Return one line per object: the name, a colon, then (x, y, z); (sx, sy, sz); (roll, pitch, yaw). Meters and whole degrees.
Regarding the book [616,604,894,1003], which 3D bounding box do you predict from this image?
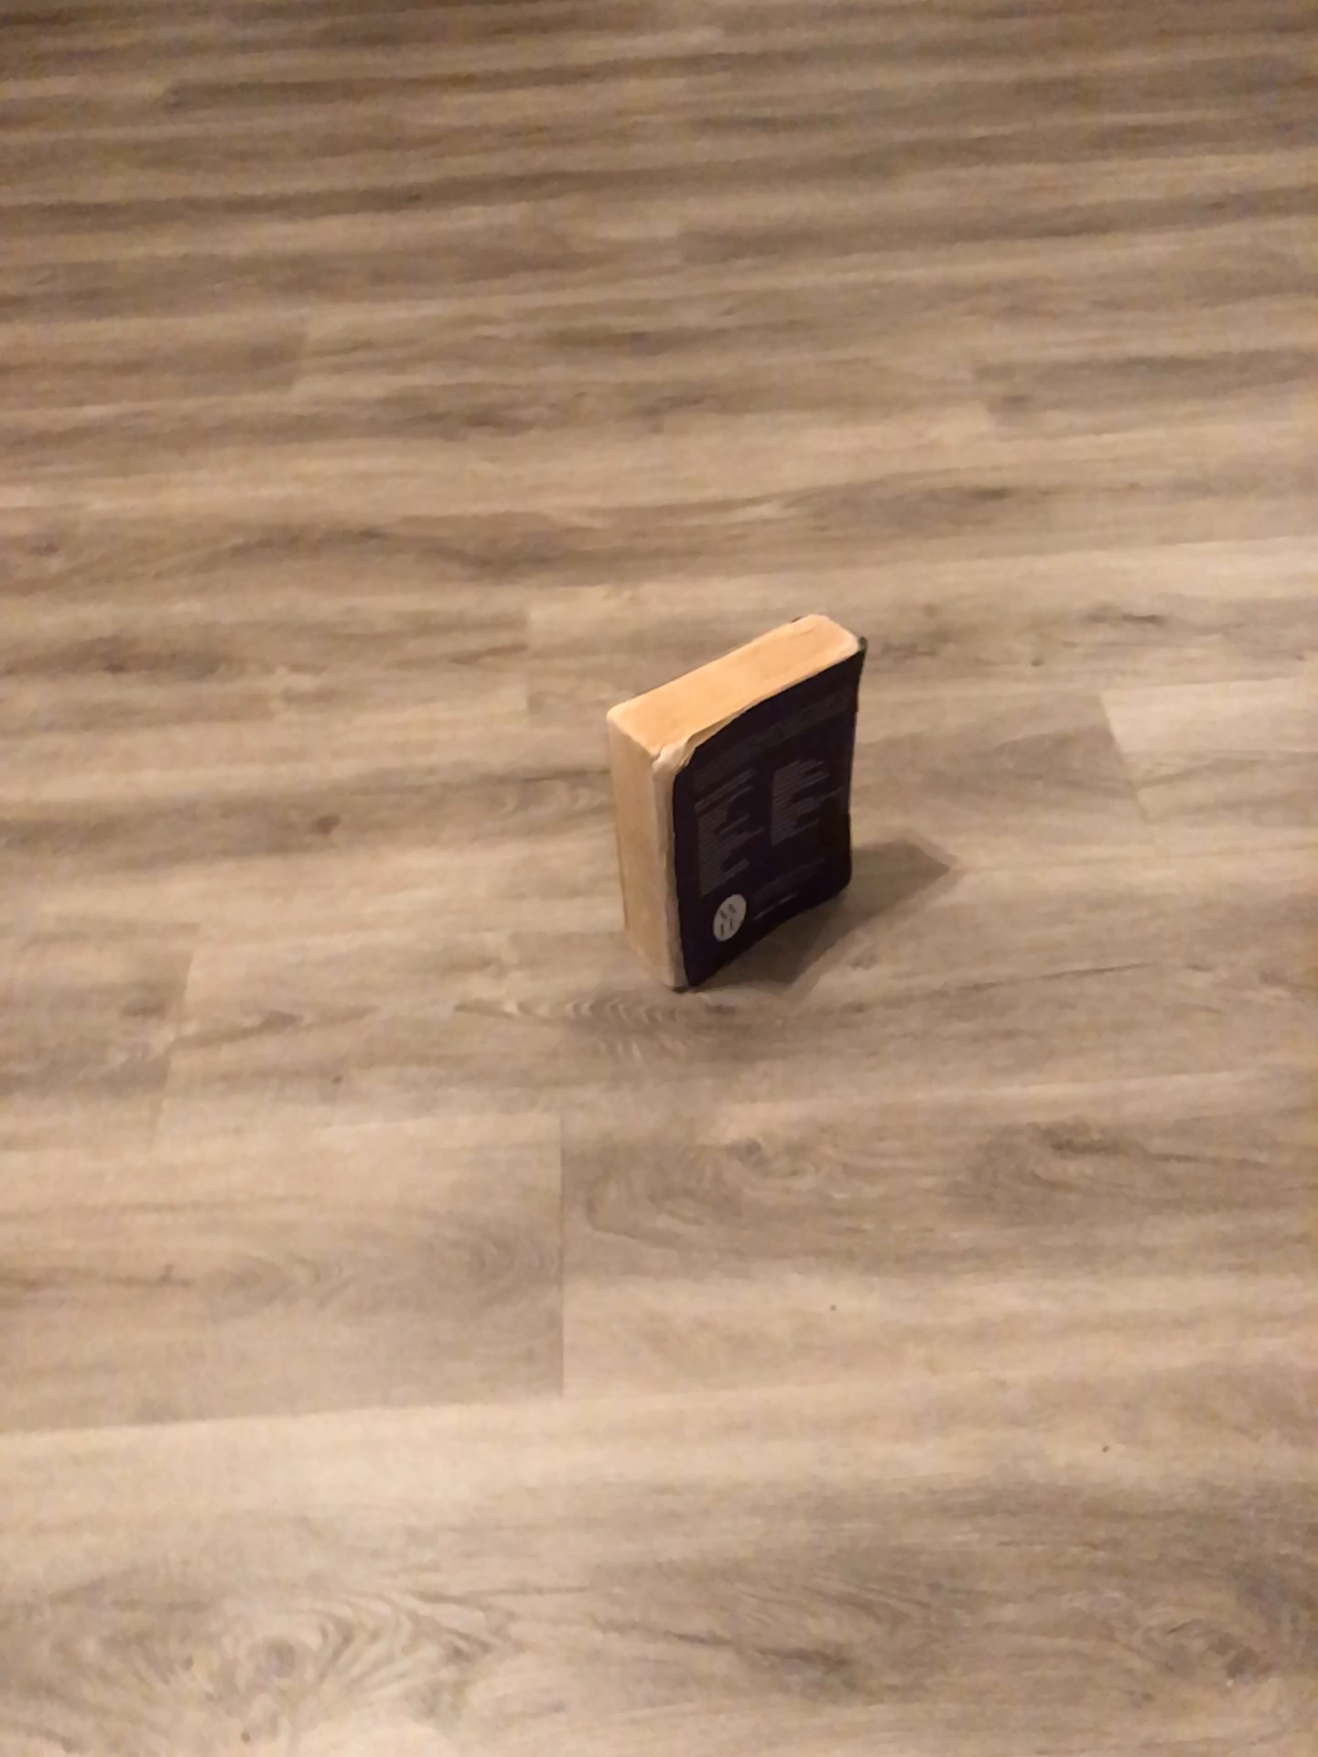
book: (0.060, -0.042, 0.921); (0.155, 0.219, 0.060); (-29, 54, -20)
